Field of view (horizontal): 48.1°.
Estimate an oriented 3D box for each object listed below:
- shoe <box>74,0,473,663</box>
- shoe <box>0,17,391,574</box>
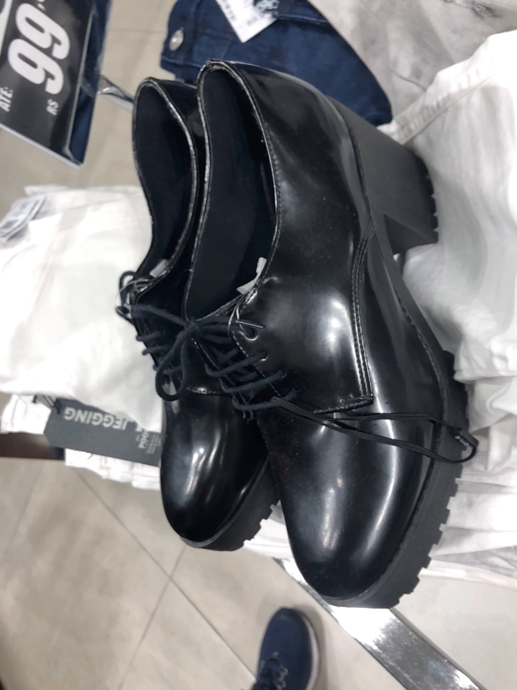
[{"bbox_3d":[0.024,-0.004,0.290,0.100,0.149,0.260,-11,67,43],"label":"shoe"},{"bbox_3d":[-0.026,-0.013,0.346,0.100,0.159,0.260,-1,73,45],"label":"shoe"}]
